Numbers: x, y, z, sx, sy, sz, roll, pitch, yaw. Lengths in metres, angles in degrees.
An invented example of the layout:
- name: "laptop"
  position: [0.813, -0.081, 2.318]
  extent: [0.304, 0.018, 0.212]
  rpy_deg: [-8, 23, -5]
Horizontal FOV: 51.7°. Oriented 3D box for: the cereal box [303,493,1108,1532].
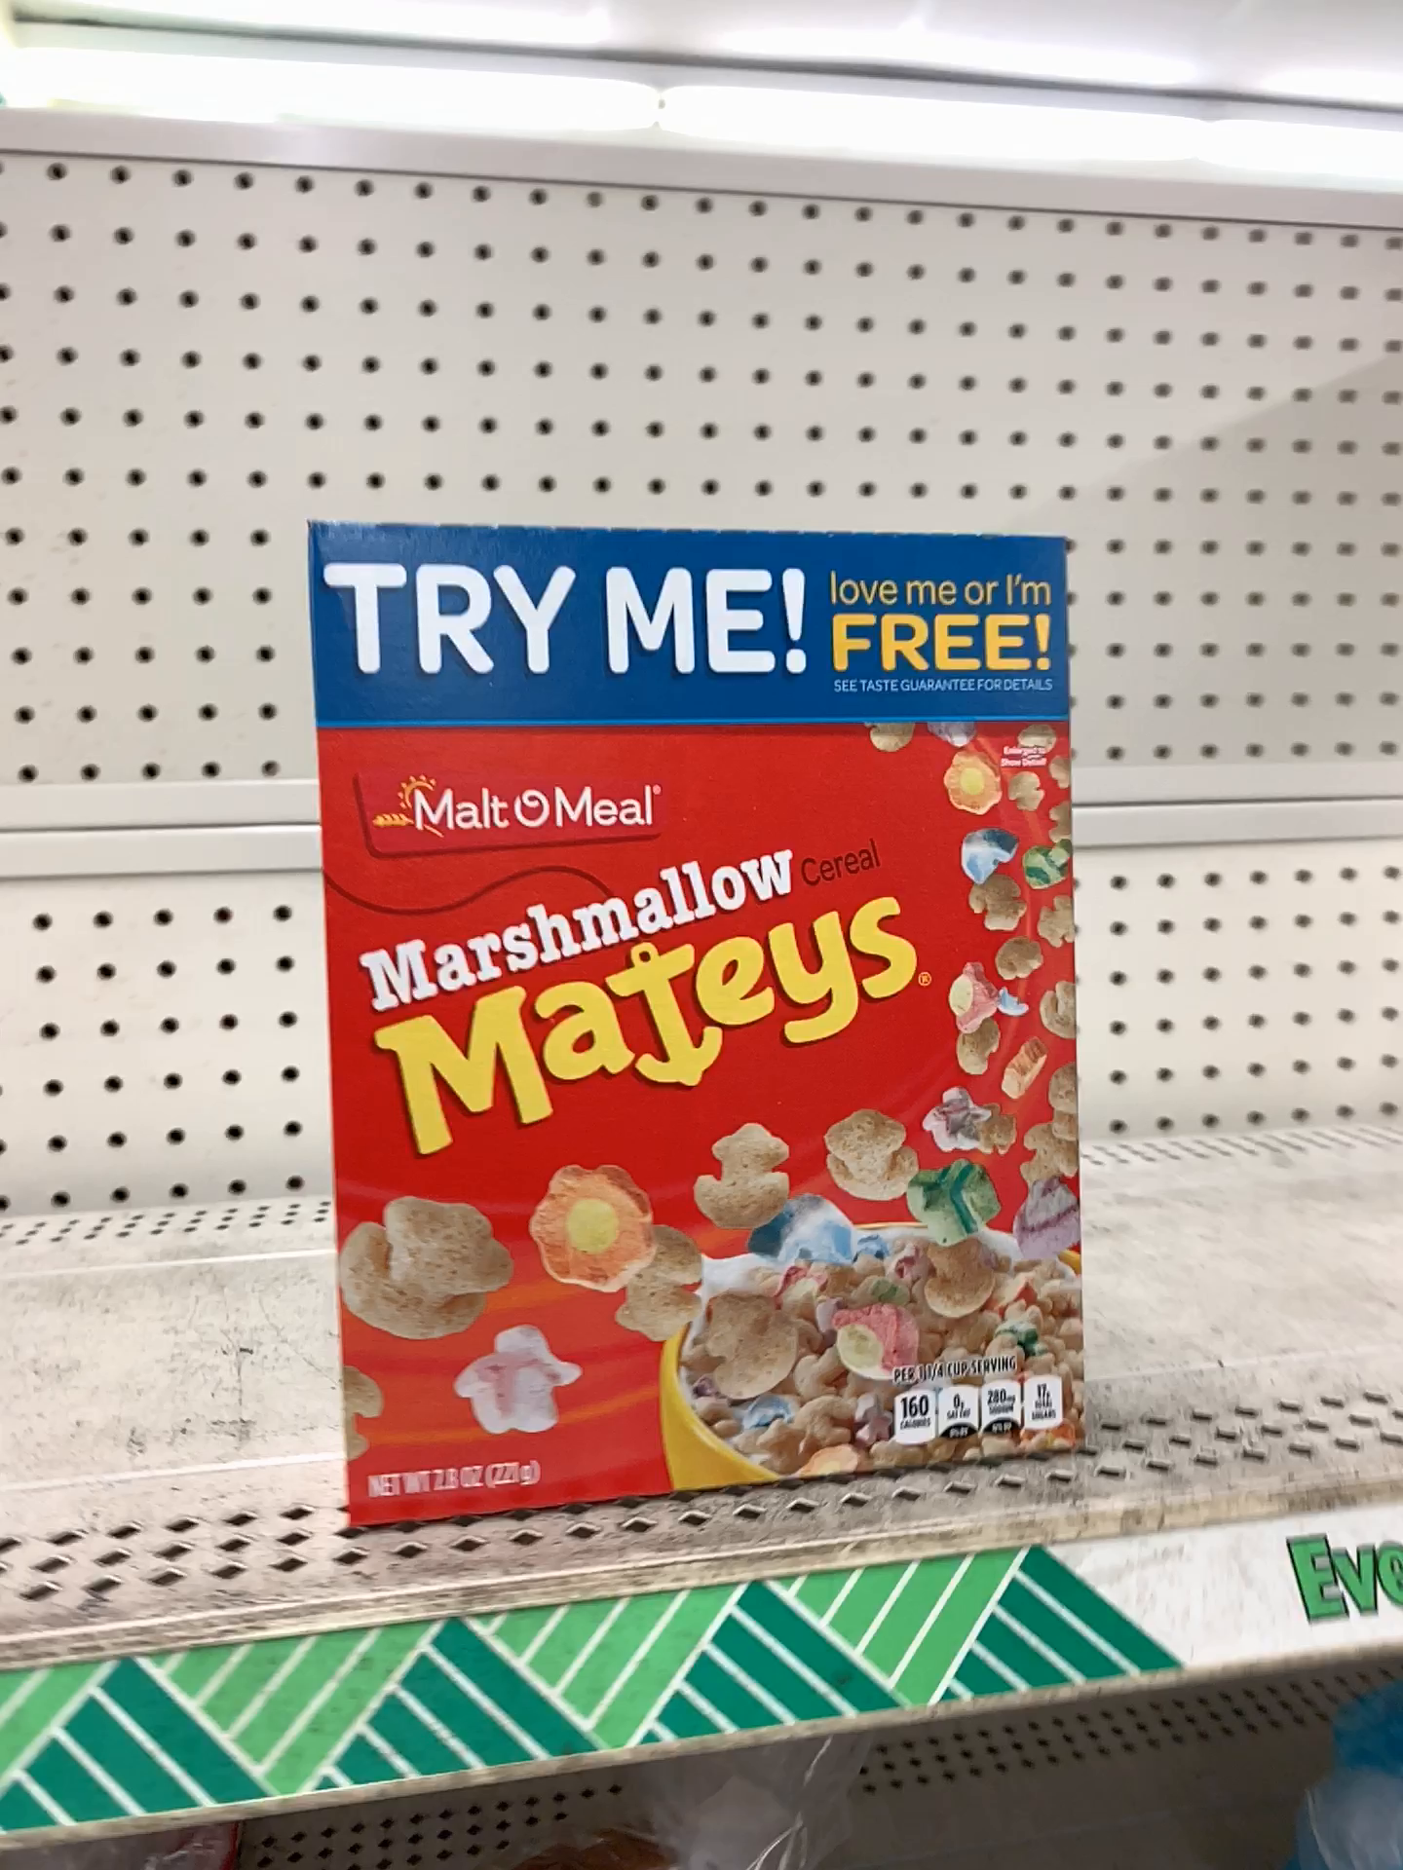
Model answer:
- name: "cereal box"
  position: [0.002, 0.013, 0.359]
  extent: [0.180, 0.230, 0.050]
  rpy_deg: [-3, 3, -10]
